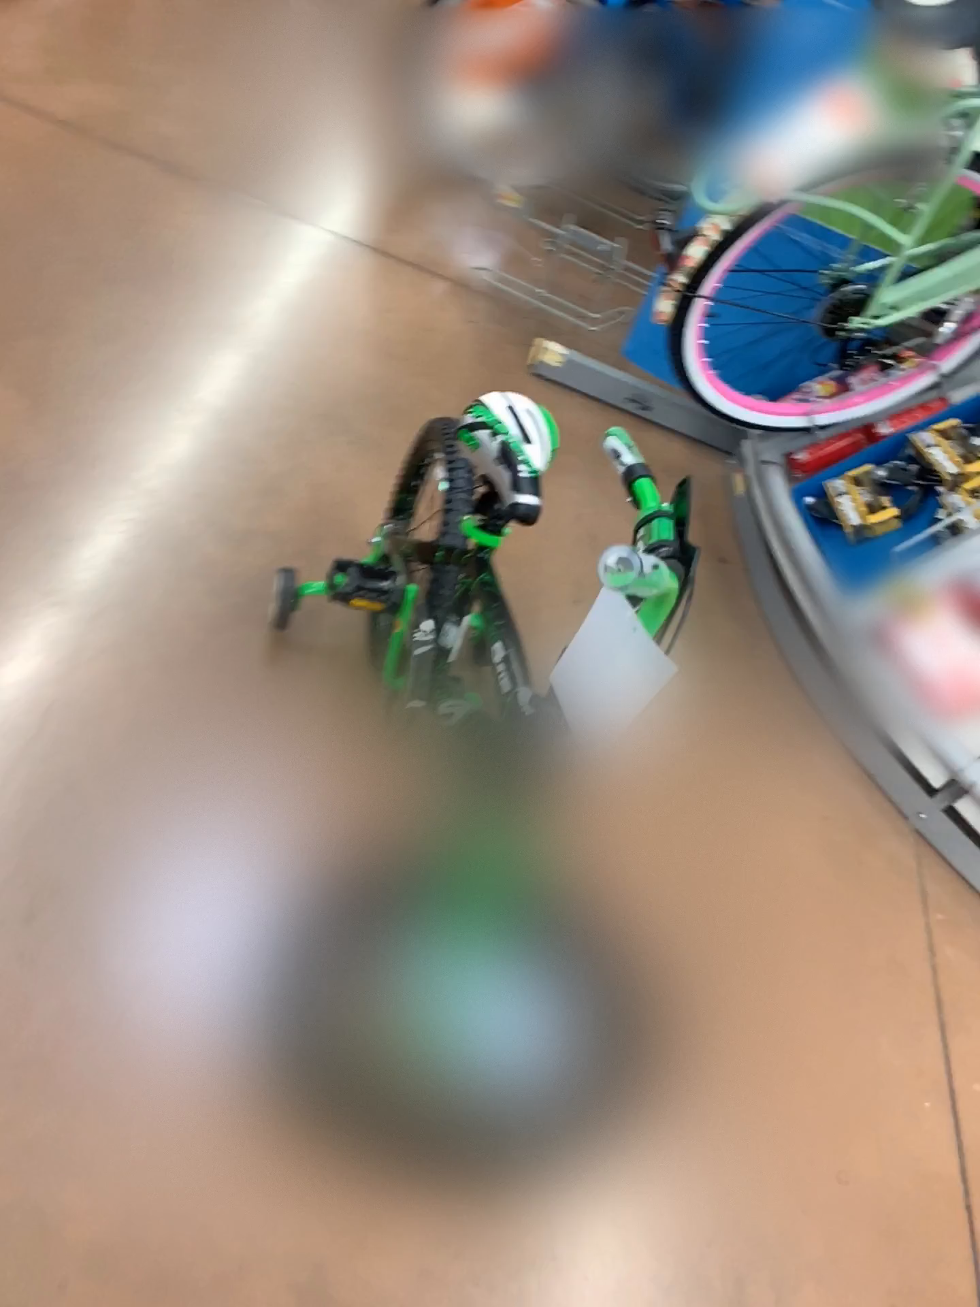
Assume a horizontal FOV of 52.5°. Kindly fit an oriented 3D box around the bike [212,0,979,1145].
[{"bbox_3d":[0.086,-0.062,1.294,0.636,0.914,1.055,0,51,-23],"label":"bike"}]
